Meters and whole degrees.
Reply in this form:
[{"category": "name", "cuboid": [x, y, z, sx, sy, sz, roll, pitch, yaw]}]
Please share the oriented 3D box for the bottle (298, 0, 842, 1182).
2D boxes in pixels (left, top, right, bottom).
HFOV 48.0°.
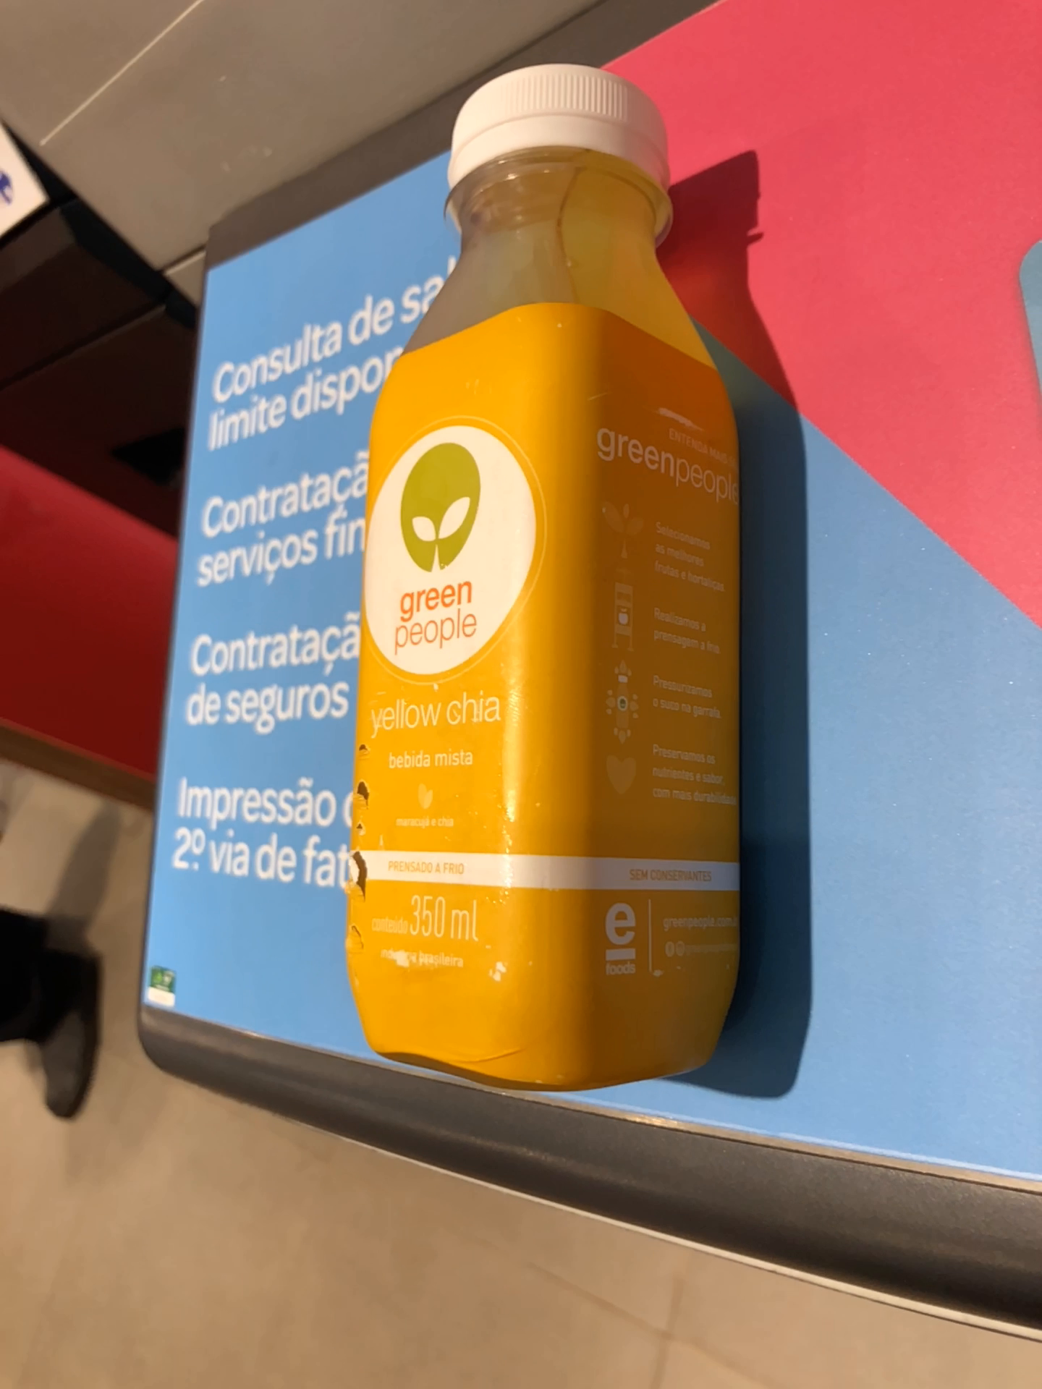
[{"category": "bottle", "cuboid": [0.011, -0.020, 0.206, 0.060, 0.060, 0.180, -4, 79, 46]}]
